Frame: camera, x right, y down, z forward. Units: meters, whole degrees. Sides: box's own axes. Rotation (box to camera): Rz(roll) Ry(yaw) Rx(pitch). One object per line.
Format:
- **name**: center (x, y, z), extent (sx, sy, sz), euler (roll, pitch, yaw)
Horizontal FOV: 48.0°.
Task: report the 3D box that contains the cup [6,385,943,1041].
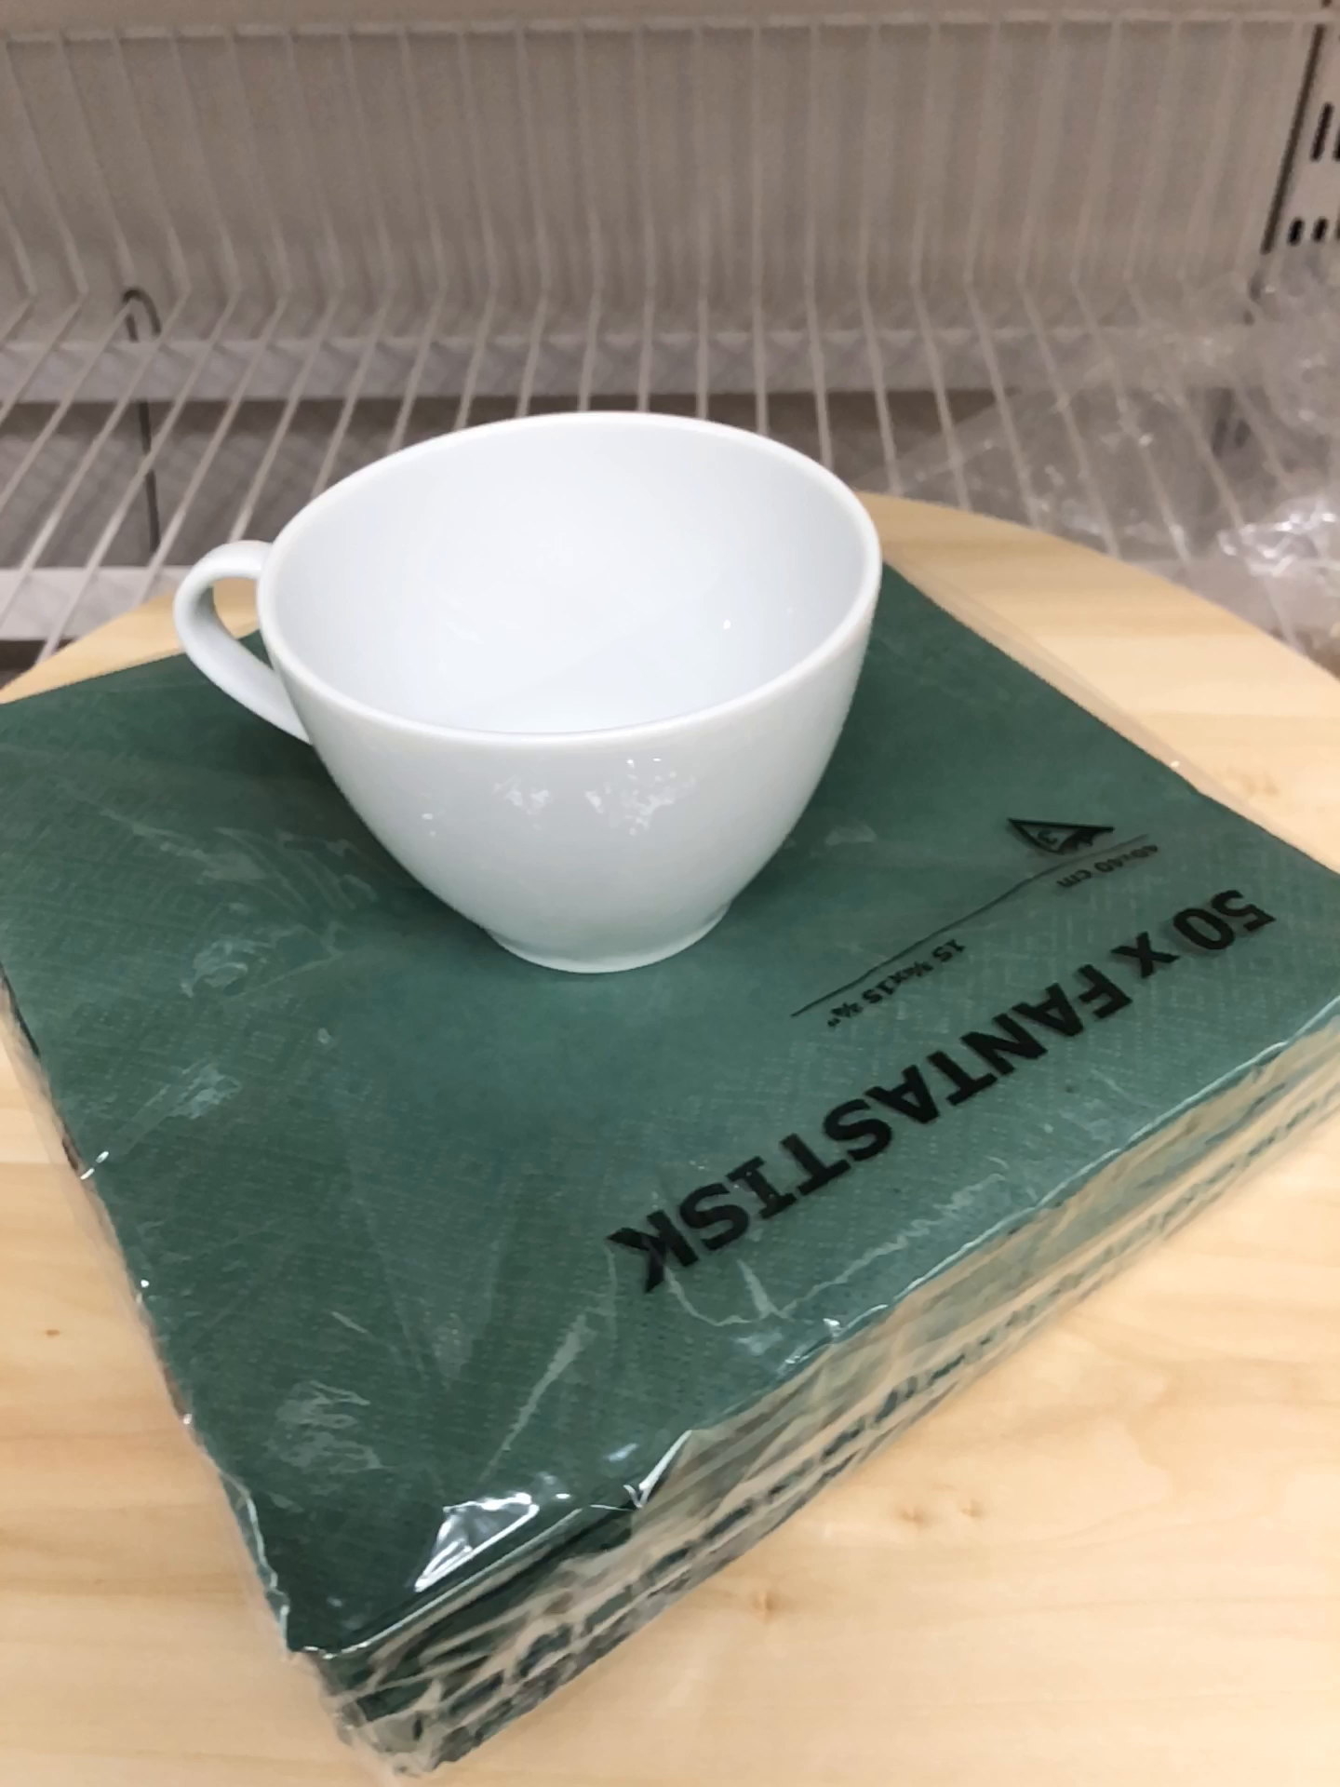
- **cup**: center (-0.022, -0.035, 0.245), extent (0.120, 0.050, 0.090), euler (7, 45, 10)
